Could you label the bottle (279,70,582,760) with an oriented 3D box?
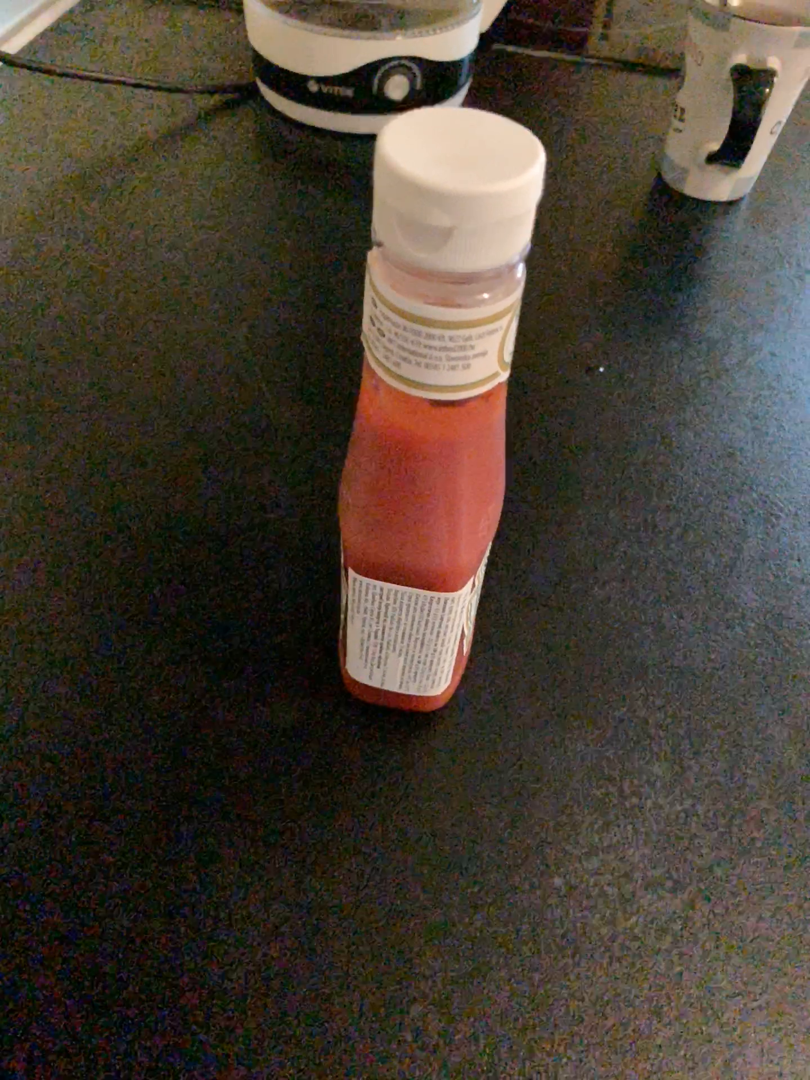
[{"bbox_3d":[0.002,-0.014,0.236,0.050,0.189,0.070,9,52,2],"label":"bottle"}]
